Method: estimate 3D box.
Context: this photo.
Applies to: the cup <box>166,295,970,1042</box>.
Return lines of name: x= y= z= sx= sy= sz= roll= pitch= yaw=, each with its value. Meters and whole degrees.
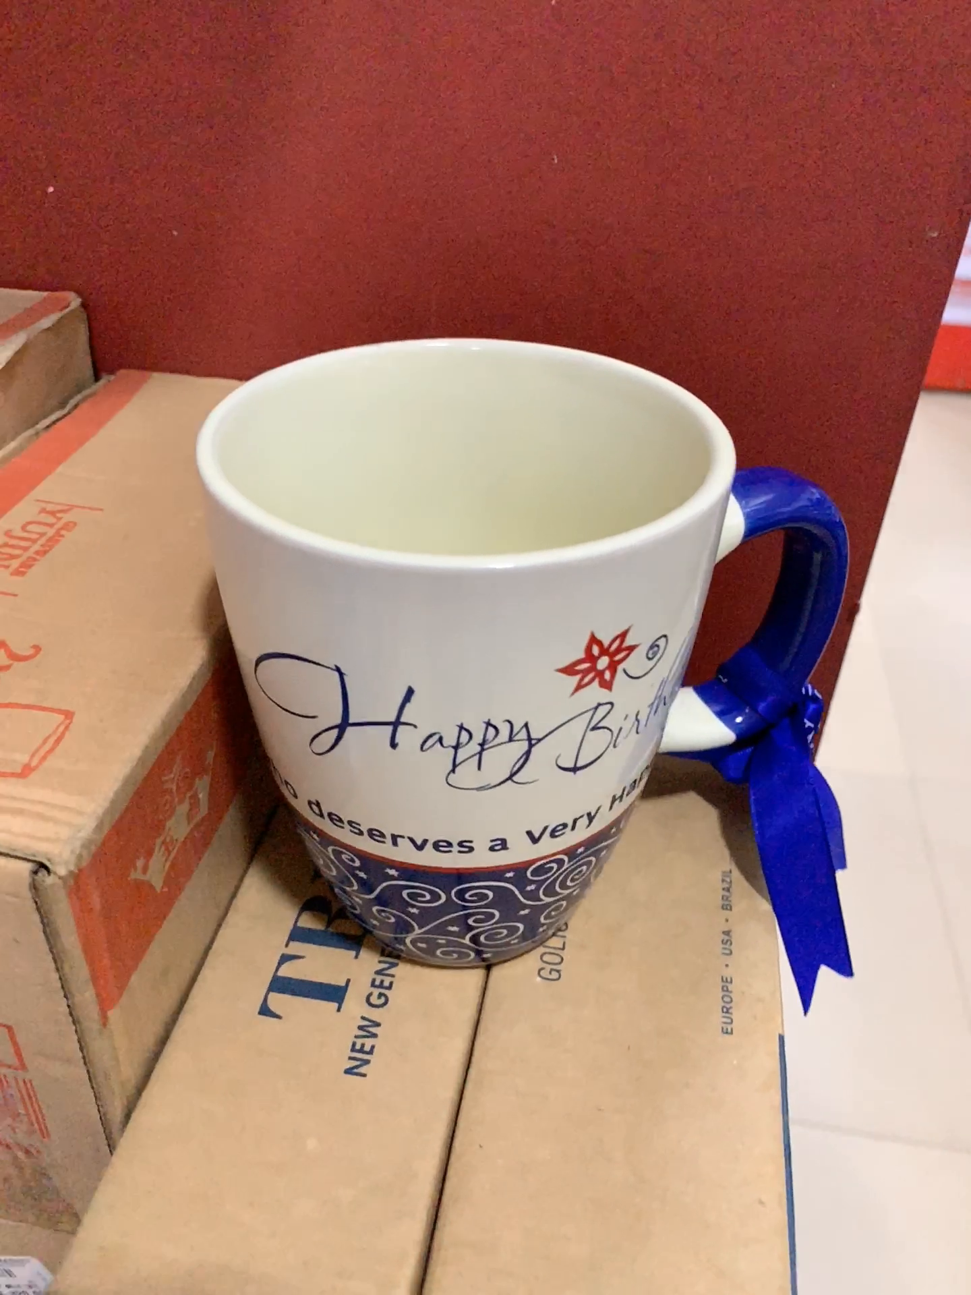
cup: x=0.016 y=-0.006 z=0.198 sx=0.131 sy=0.086 sz=0.092 roll=-10 pitch=37 yaw=-16
